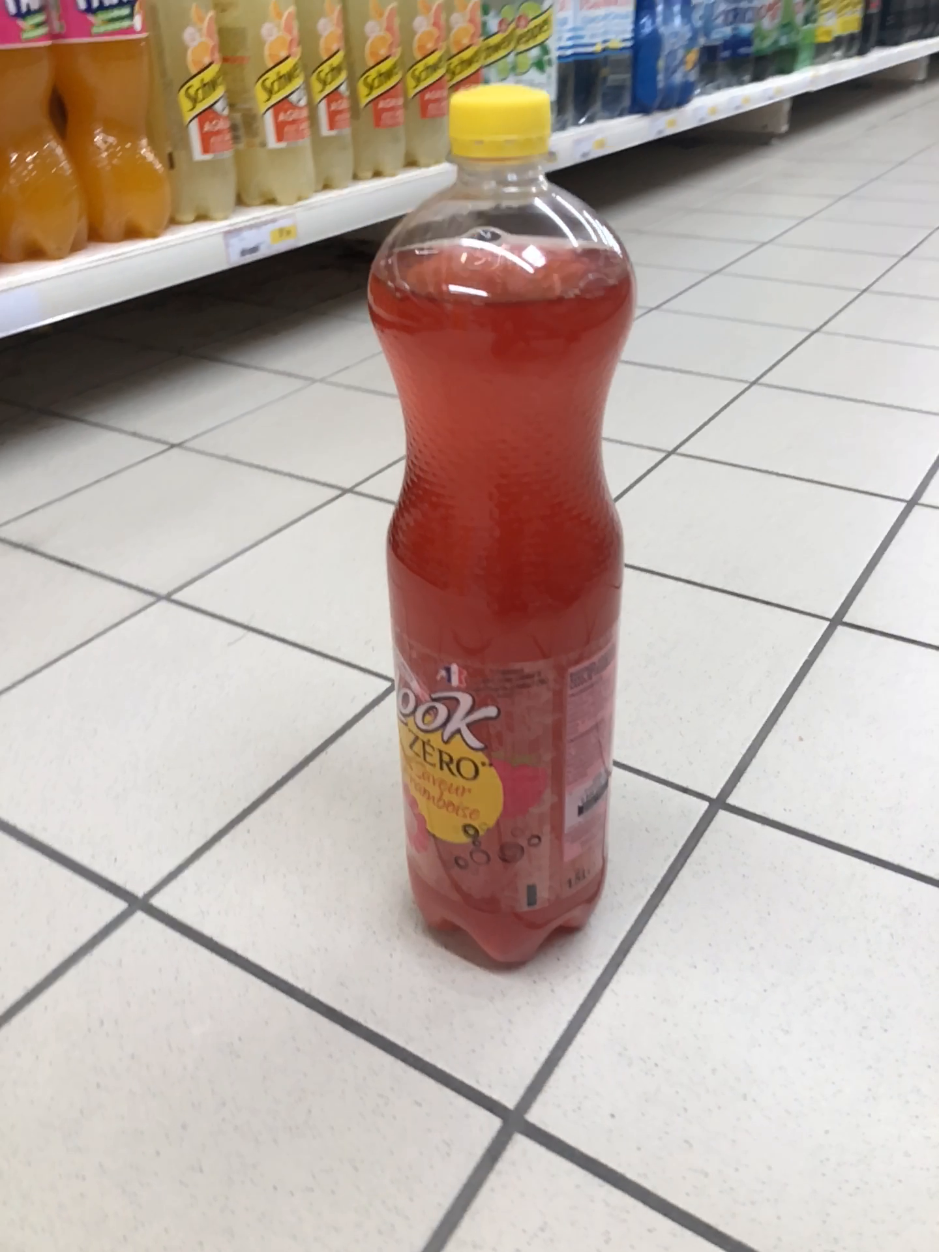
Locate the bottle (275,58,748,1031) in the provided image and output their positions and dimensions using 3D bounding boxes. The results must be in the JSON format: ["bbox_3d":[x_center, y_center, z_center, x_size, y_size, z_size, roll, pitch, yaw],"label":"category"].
[{"bbox_3d":[0.015,-0.017,0.377,0.090,0.328,0.100,-26,39,-35],"label":"bottle"}]
